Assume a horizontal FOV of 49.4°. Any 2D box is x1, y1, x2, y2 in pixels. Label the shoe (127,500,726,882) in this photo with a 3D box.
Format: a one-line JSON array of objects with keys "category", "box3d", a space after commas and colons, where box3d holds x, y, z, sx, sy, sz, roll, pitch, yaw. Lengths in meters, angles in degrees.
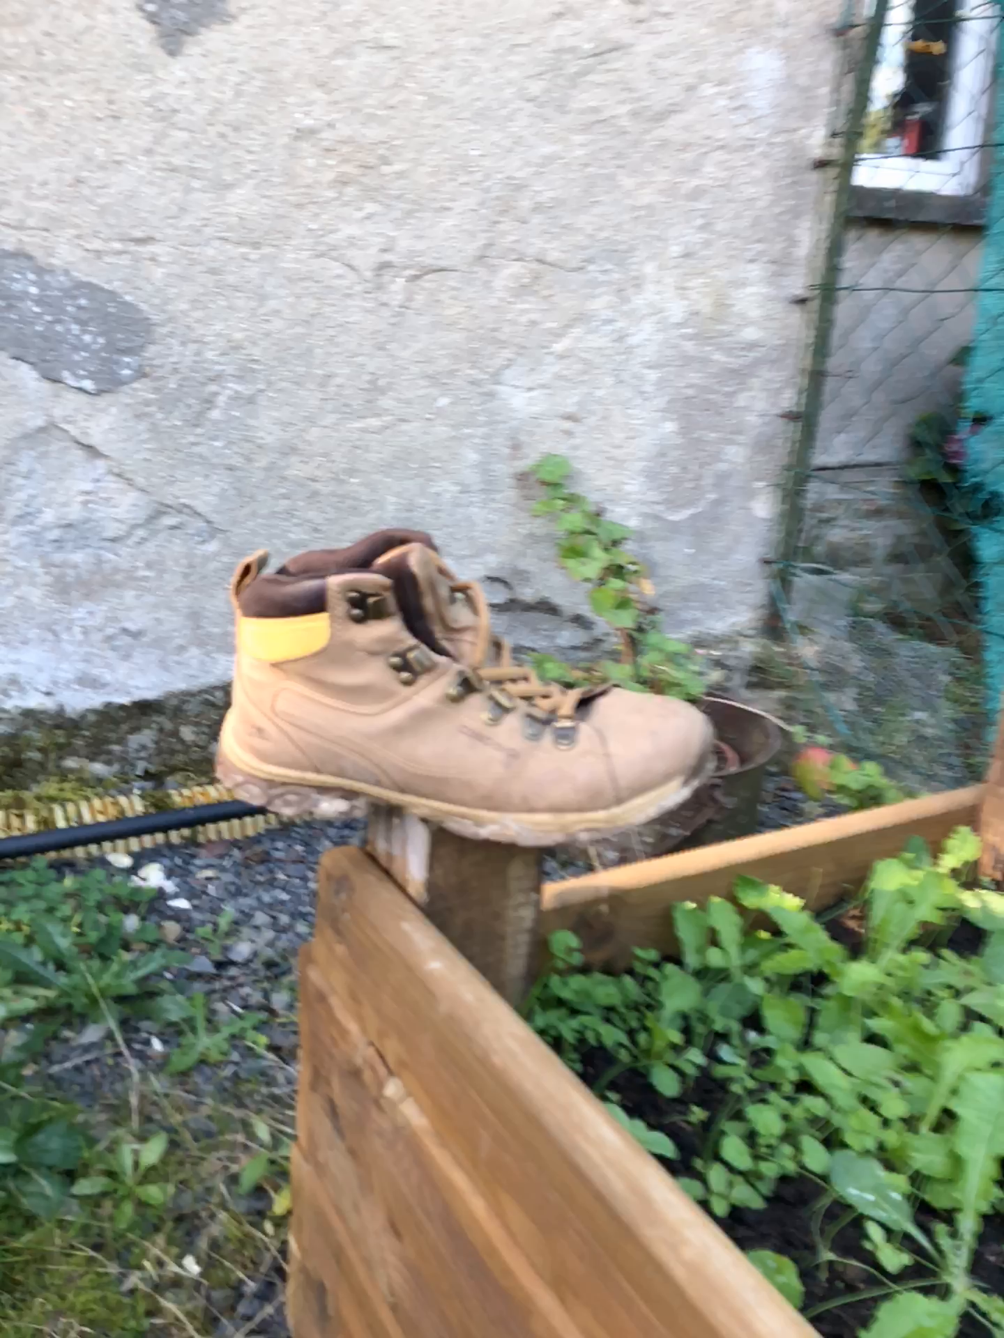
[{"category": "shoe", "box3d": [-0.035, 0.004, 0.570, 0.280, 0.149, 0.100, 5, 19, 7]}]
